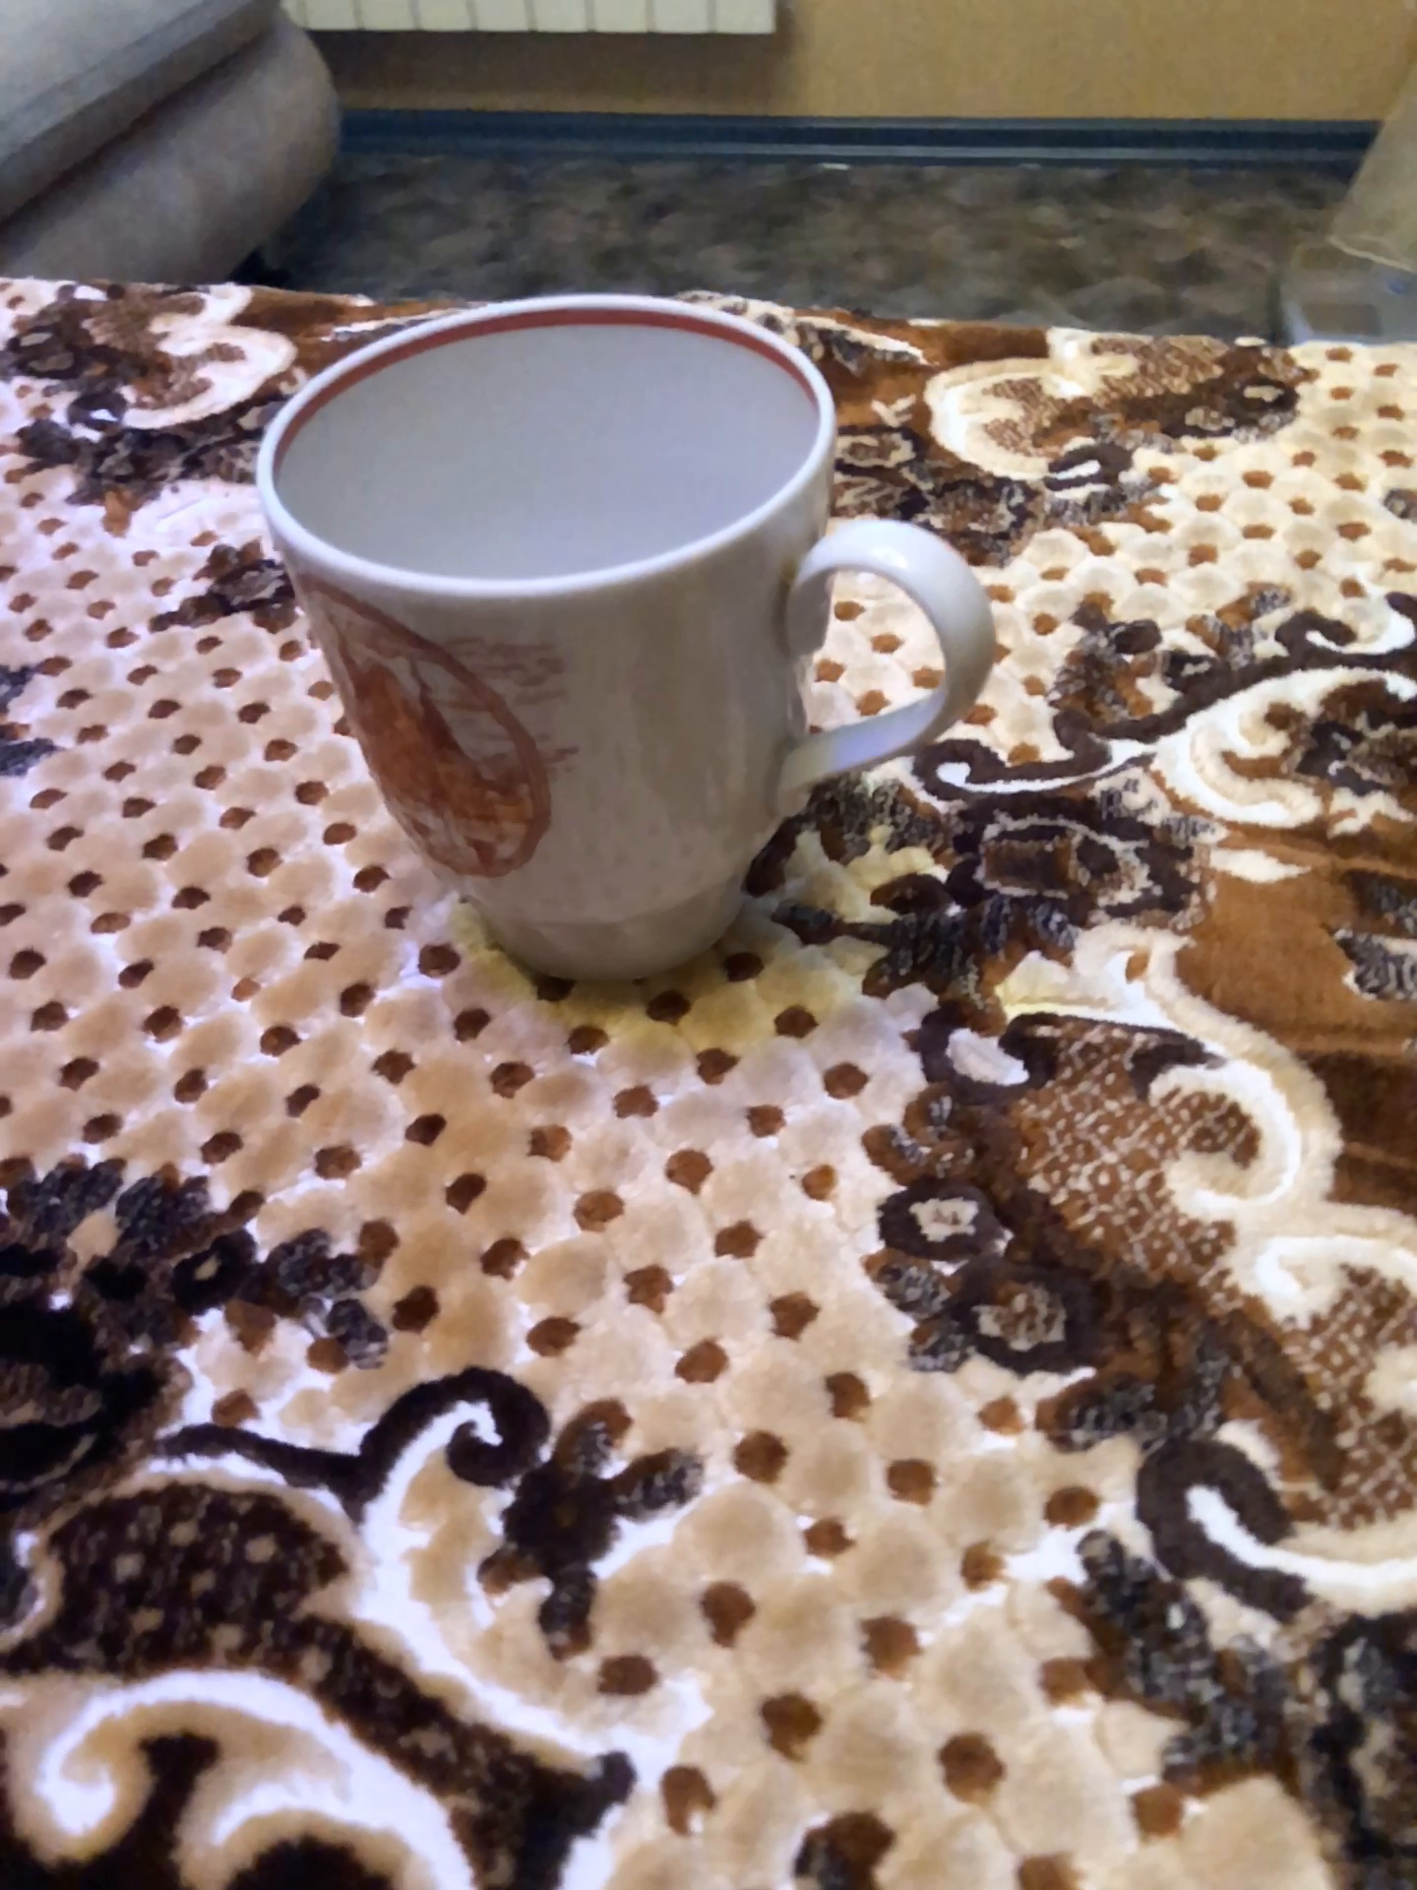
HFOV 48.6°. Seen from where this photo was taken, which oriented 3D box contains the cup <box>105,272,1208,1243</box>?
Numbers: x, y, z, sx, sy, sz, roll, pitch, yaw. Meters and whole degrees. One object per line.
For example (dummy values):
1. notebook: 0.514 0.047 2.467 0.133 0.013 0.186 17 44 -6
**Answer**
1. cup: -0.003 -0.038 0.263 0.130 0.090 0.100 20 50 22
